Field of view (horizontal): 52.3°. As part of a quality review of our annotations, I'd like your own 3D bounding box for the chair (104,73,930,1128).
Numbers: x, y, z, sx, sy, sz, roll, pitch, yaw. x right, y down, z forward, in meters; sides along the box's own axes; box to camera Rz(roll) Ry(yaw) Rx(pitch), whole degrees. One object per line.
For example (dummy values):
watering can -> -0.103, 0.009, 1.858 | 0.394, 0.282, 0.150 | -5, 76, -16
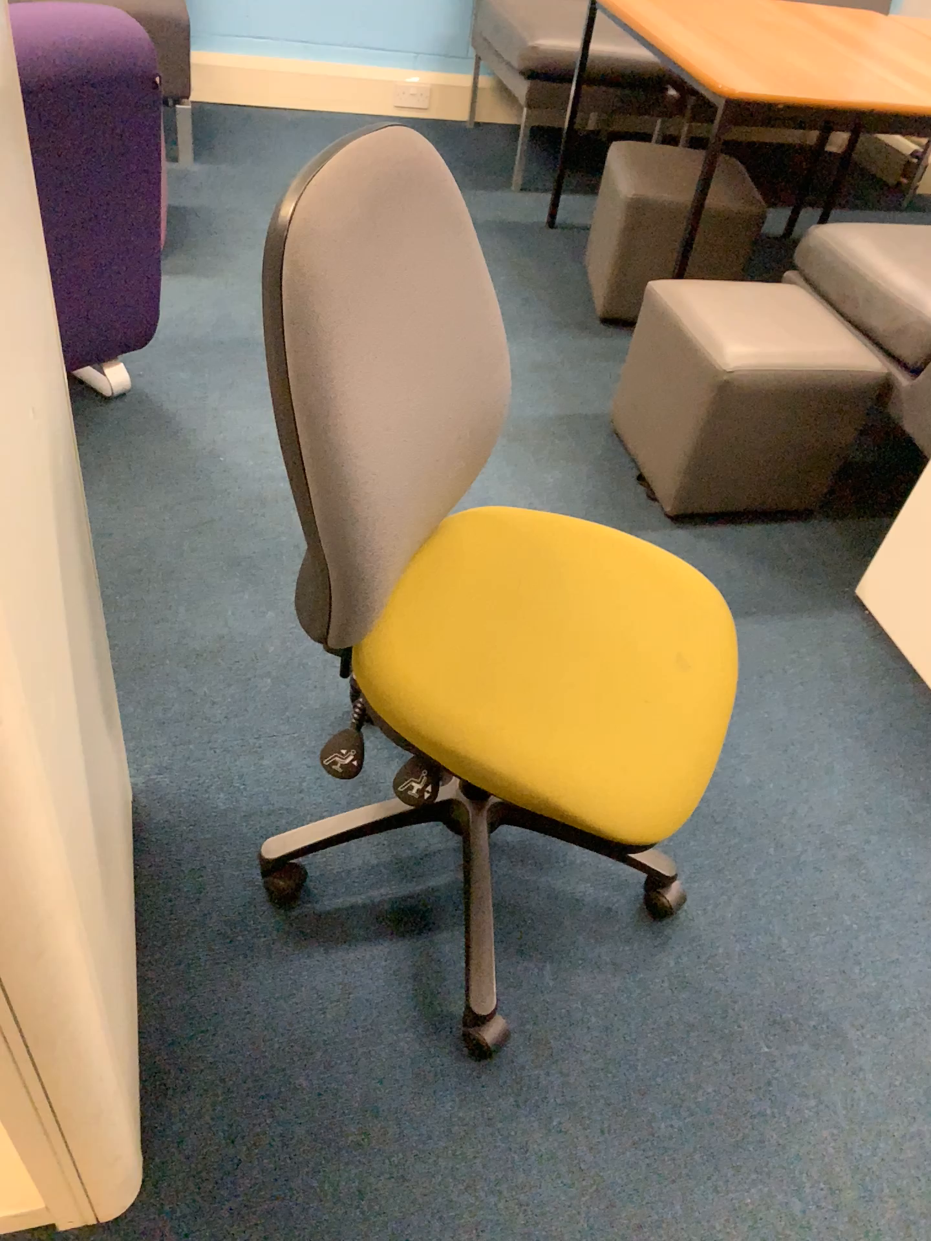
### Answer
chair -> 0.097, -0.006, 1.143 | 0.660, 0.921, 0.646 | 18, 43, 7
